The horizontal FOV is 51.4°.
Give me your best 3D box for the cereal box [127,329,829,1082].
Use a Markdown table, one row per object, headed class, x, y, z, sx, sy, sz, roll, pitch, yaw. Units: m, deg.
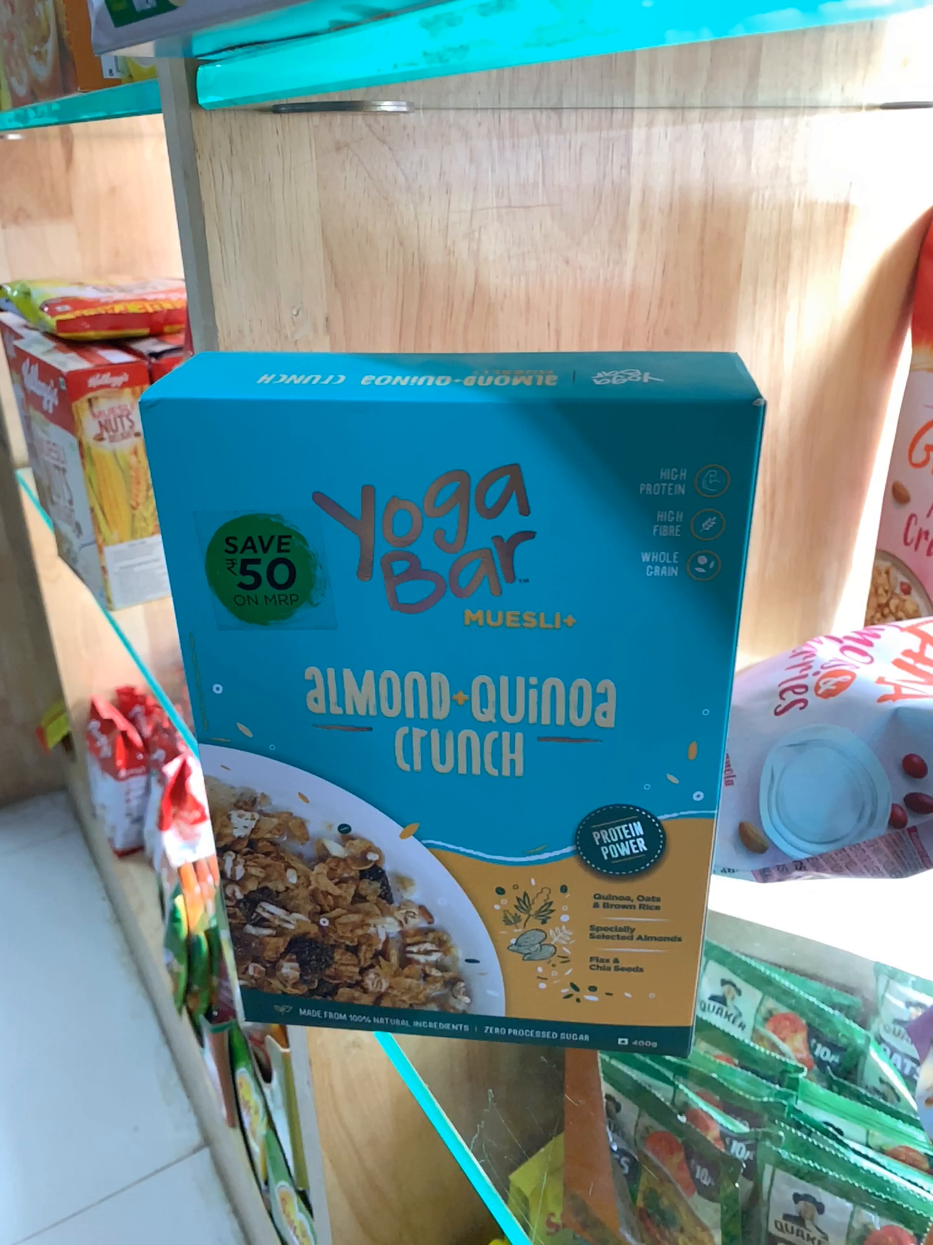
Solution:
| class | x | y | z | sx | sy | sz | roll | pitch | yaw |
| --- | --- | --- | --- | --- | --- | --- | --- | --- | --- |
| cereal box | 0.004 | 0.029 | 0.293 | 0.160 | 0.218 | 0.060 | 2 | 25 | 6 |
